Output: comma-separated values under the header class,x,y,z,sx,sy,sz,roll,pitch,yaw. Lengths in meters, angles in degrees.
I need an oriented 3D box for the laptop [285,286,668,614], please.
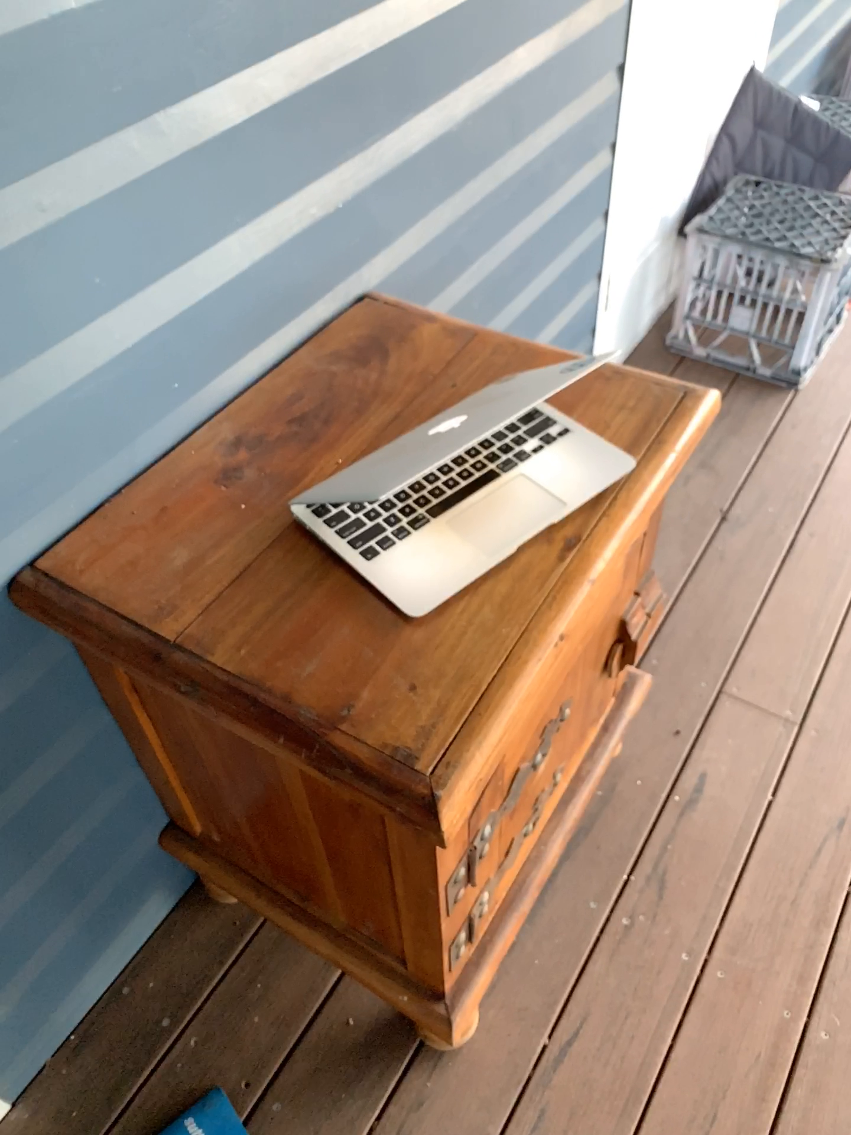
class,x,y,z,sx,sy,sz,roll,pitch,yaw
laptop,0.049,-0.118,0.789,0.282,0.099,0.180,-34,55,-24
